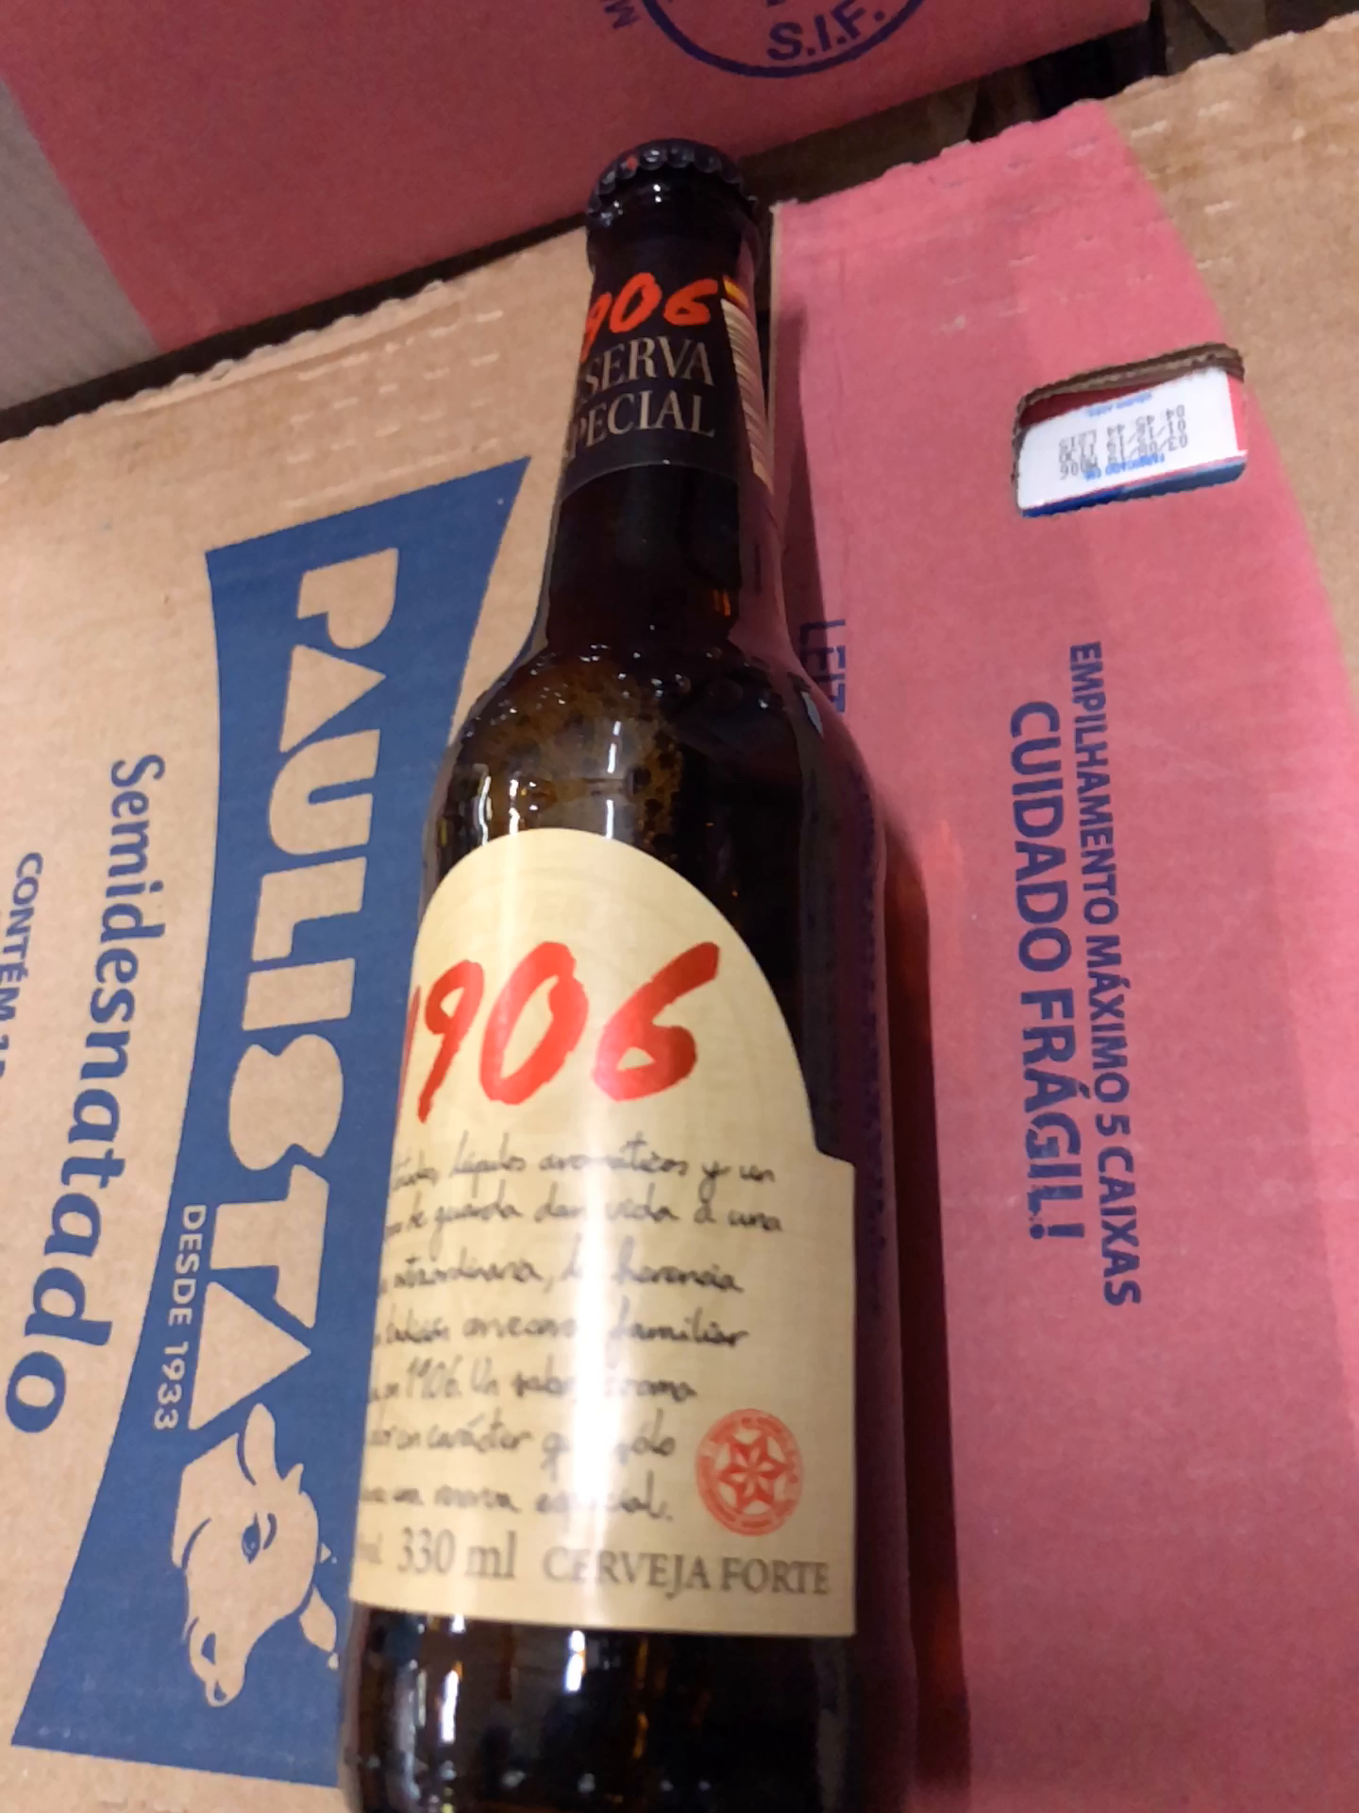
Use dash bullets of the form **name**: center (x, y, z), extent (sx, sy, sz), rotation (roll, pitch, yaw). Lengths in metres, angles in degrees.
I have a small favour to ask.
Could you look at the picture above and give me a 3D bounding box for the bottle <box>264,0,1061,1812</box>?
- **bottle**: center (0.005, -0.010, 0.215), extent (0.070, 0.060, 0.271), rotation (-7, 68, 22)
